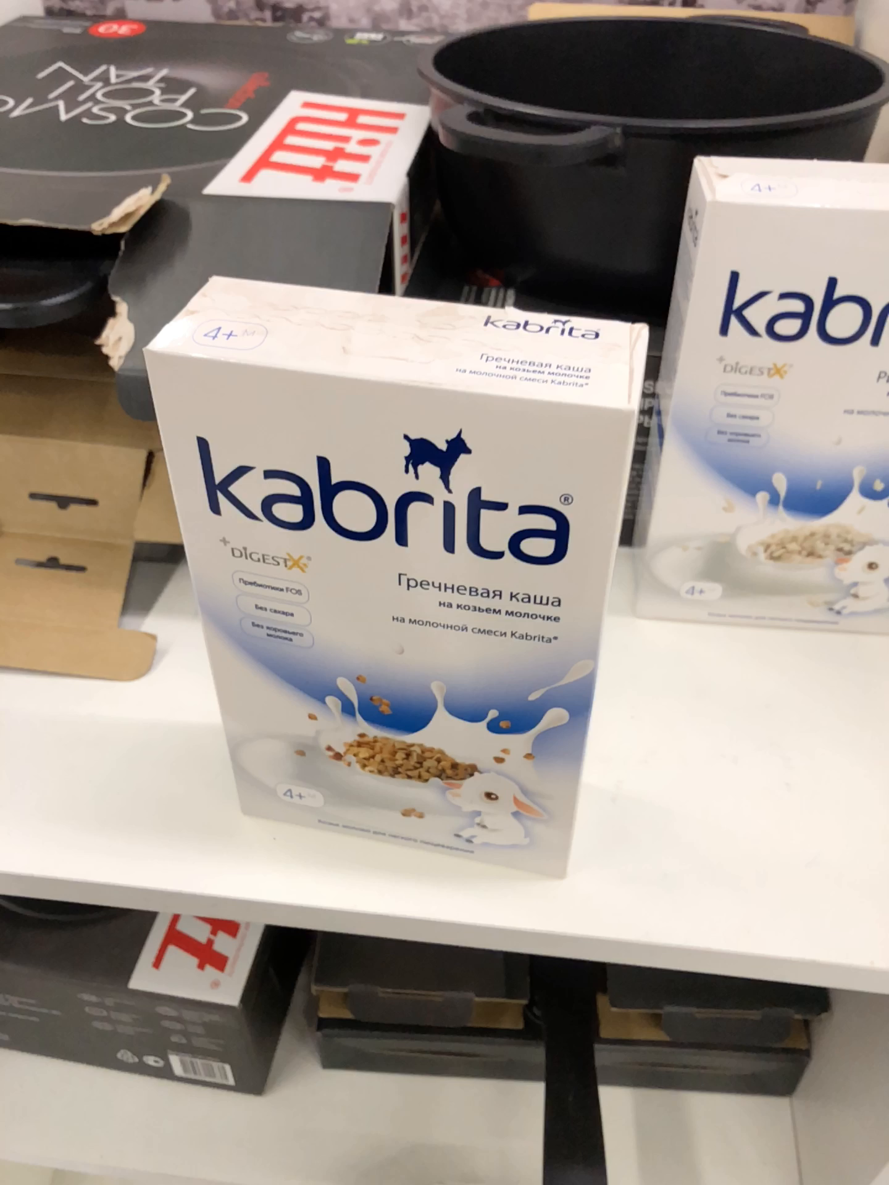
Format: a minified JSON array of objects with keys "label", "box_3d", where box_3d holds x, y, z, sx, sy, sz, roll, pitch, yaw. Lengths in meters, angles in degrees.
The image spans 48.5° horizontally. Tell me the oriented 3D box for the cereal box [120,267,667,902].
[{"label":"cereal box","box_3d":[-0.012,0.011,0.338,0.140,0.219,0.050,8,41,8]}]
